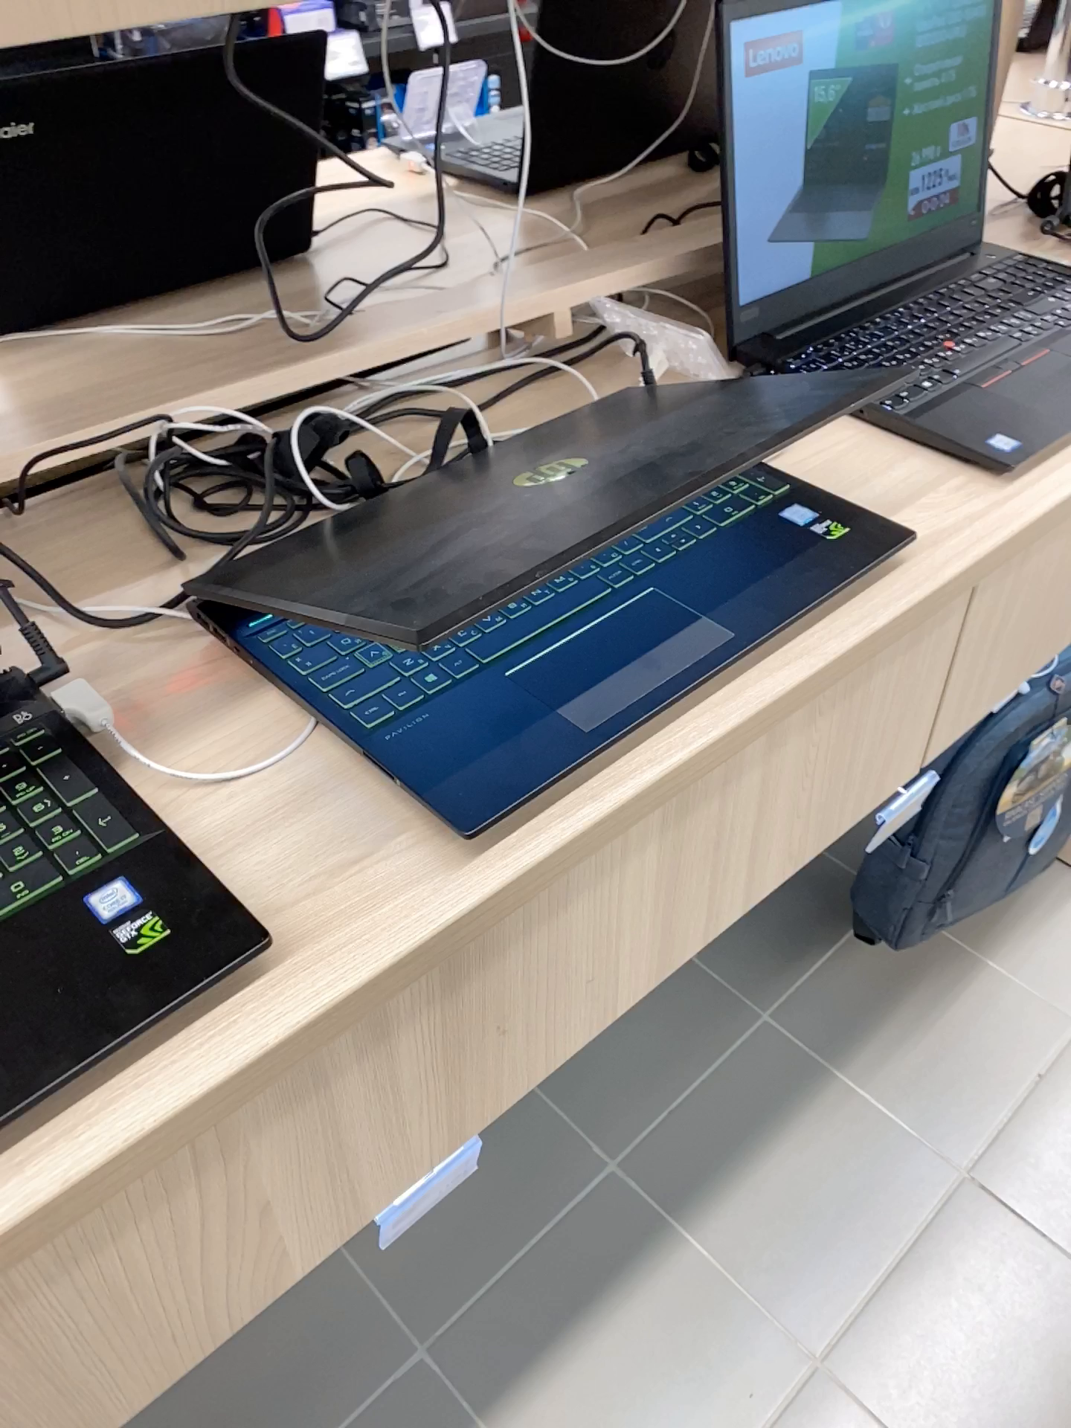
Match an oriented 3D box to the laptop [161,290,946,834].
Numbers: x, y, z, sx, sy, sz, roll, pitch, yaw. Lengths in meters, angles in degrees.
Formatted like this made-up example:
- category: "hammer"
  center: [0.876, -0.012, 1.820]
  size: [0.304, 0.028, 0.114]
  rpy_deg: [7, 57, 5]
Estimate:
- category: "laptop"
  center: [0.022, -0.120, 0.620]
  size: [0.362, 0.092, 0.243]
  rpy_deg: [-31, 50, -33]
